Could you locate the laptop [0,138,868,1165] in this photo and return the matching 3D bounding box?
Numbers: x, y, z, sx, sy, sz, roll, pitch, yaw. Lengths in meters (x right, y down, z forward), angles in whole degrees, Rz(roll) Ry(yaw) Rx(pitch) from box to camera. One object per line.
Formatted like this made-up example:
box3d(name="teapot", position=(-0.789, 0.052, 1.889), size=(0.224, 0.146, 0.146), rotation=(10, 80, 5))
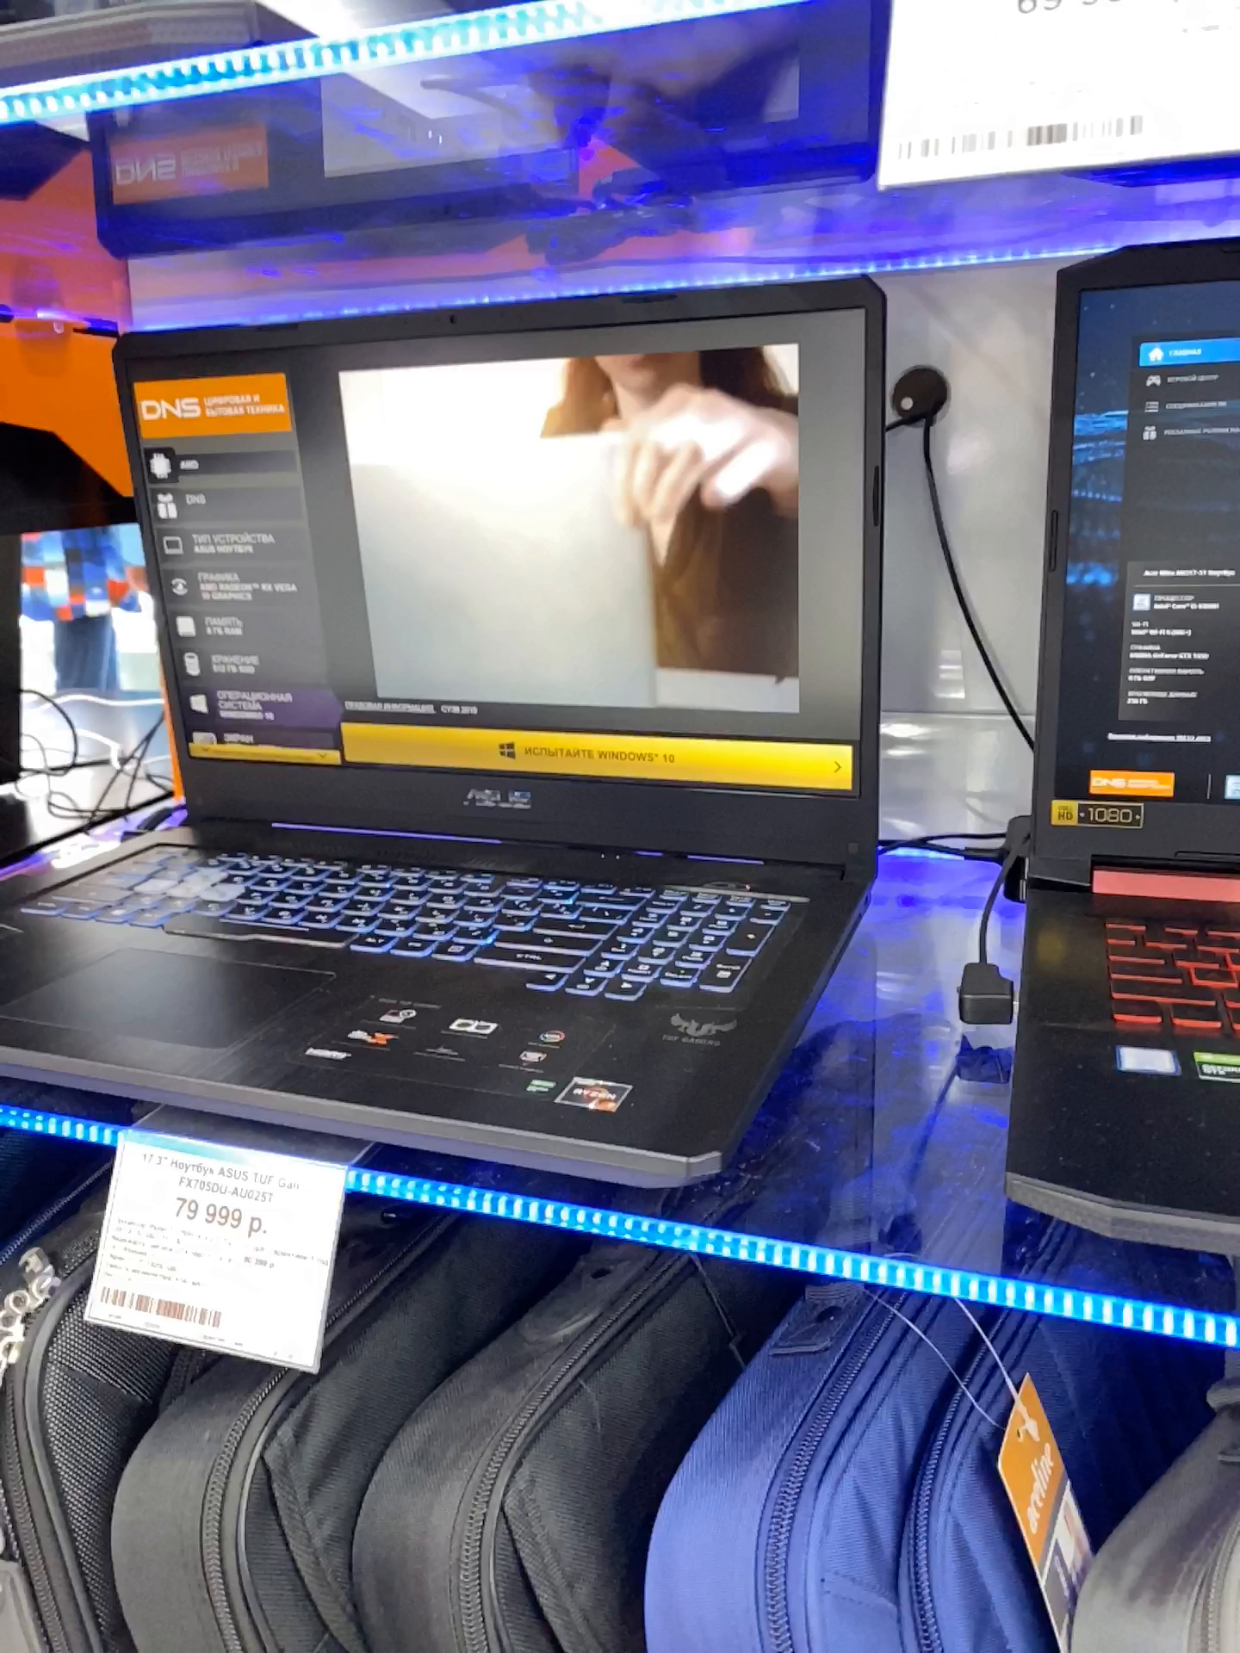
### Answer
box3d(name="laptop", position=(-0.120, -0.079, 0.519), size=(0.397, 0.265, 0.269), rotation=(4, 16, 20))
